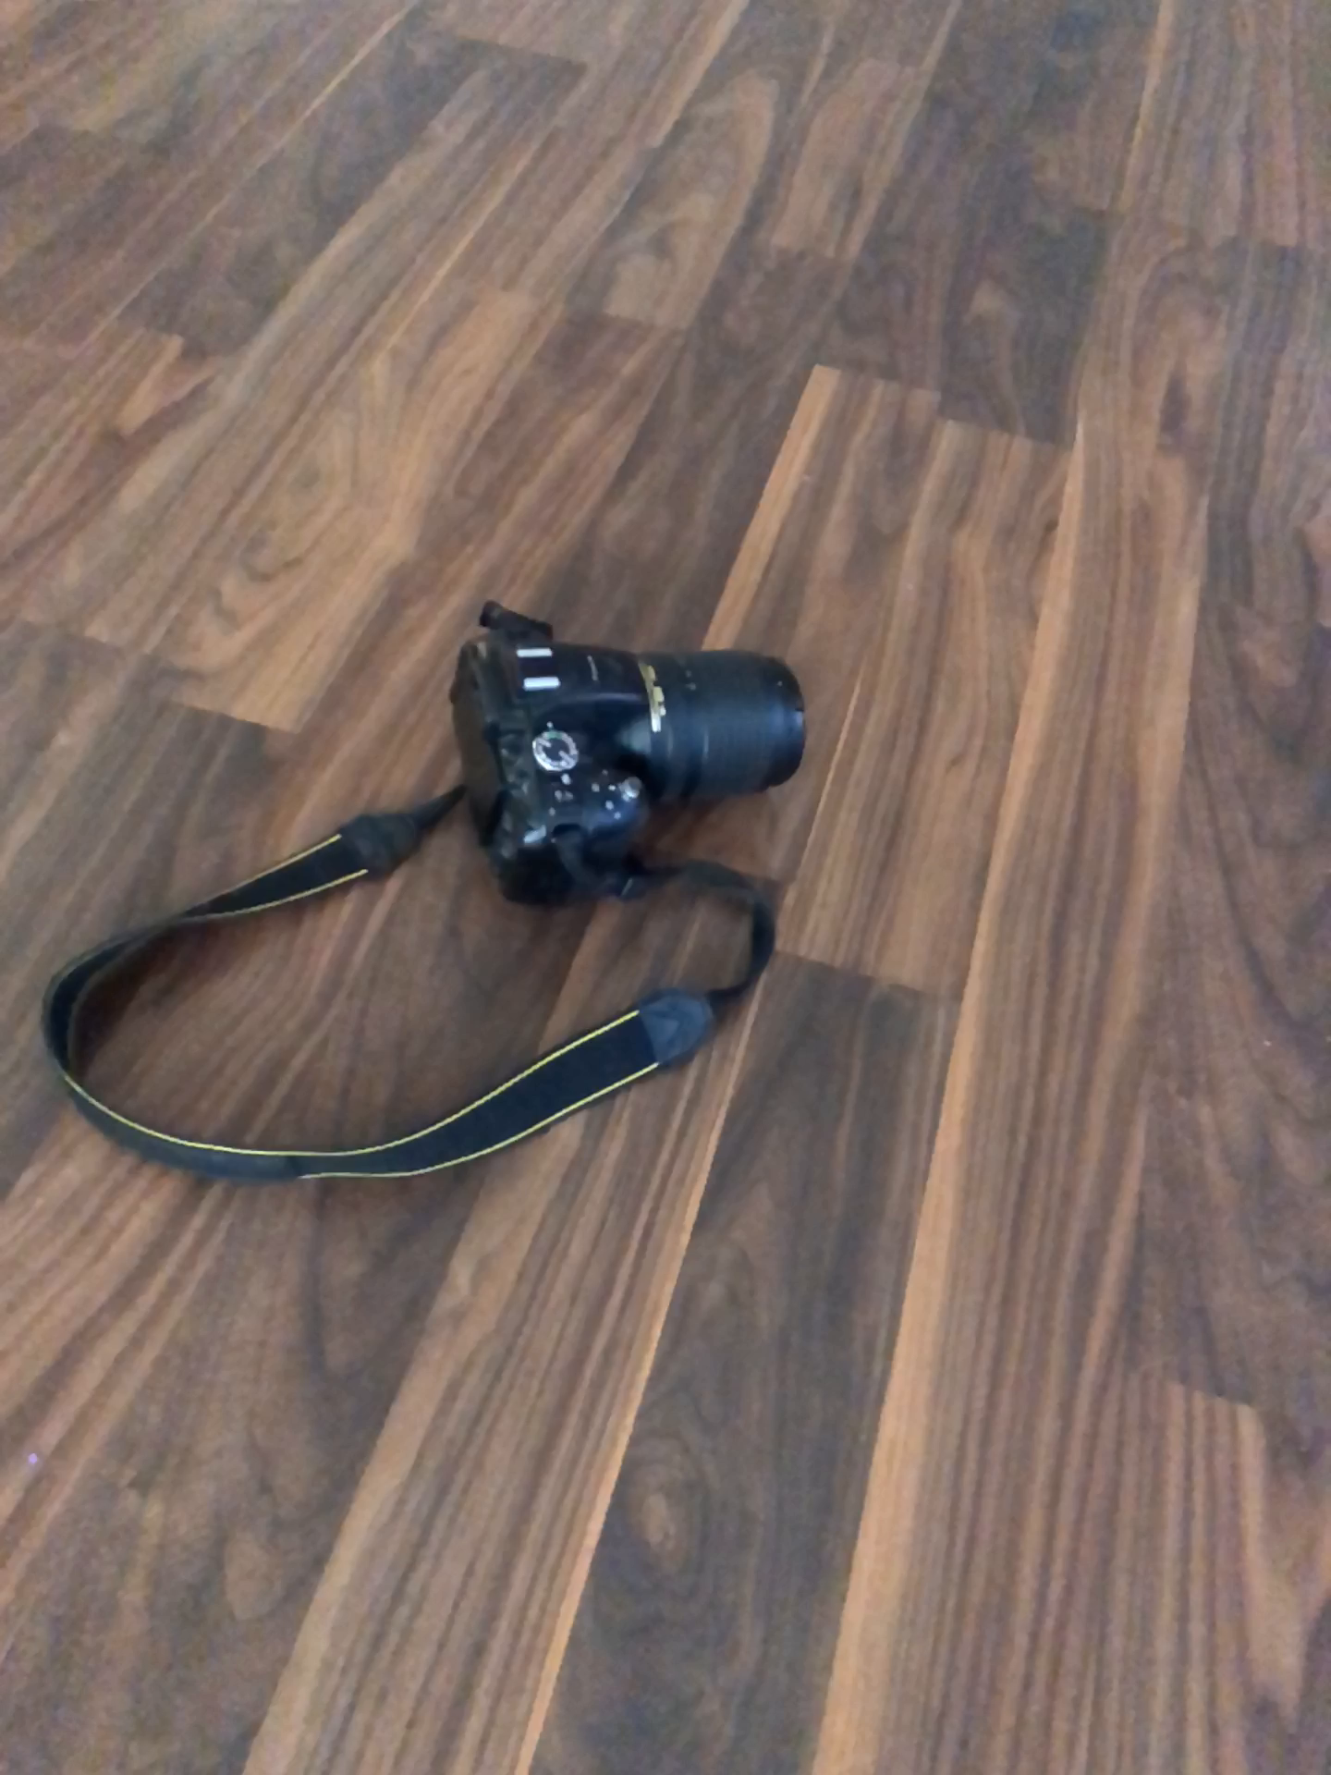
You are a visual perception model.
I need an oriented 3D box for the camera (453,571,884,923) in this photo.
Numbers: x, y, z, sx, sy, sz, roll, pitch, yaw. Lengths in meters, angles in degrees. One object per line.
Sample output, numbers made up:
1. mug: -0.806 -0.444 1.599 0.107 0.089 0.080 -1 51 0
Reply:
1. camera: -0.003 -0.067 0.662 0.160 0.070 0.120 -11 53 -13
